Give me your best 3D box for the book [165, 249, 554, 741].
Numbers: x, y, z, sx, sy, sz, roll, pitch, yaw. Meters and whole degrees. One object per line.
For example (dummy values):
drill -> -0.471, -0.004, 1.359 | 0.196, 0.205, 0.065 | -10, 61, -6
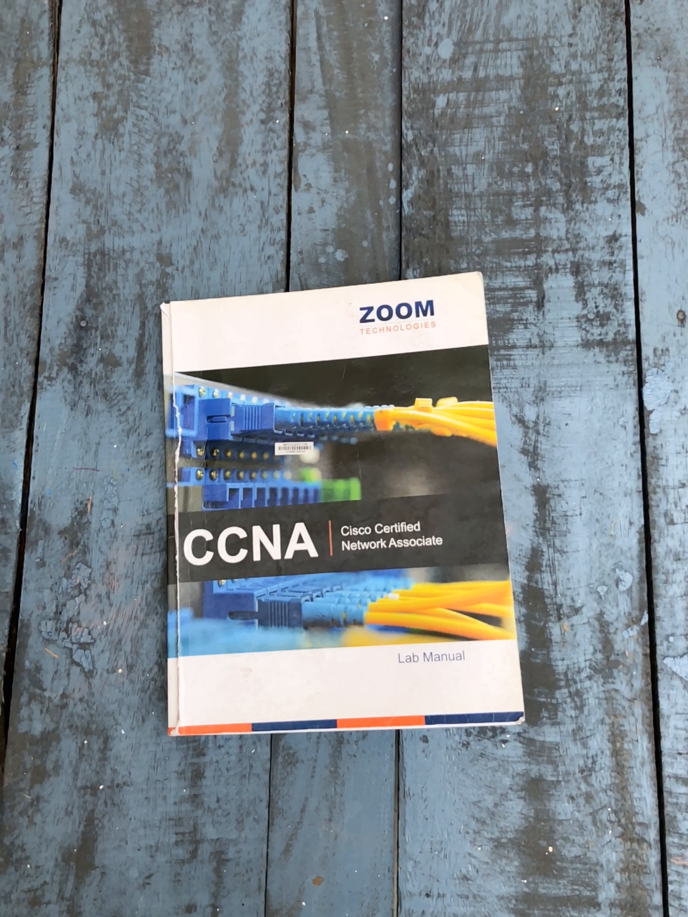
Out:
book -> 0.001, 0.017, 0.434 | 0.200, 0.030, 0.260 | -4, 78, 5
